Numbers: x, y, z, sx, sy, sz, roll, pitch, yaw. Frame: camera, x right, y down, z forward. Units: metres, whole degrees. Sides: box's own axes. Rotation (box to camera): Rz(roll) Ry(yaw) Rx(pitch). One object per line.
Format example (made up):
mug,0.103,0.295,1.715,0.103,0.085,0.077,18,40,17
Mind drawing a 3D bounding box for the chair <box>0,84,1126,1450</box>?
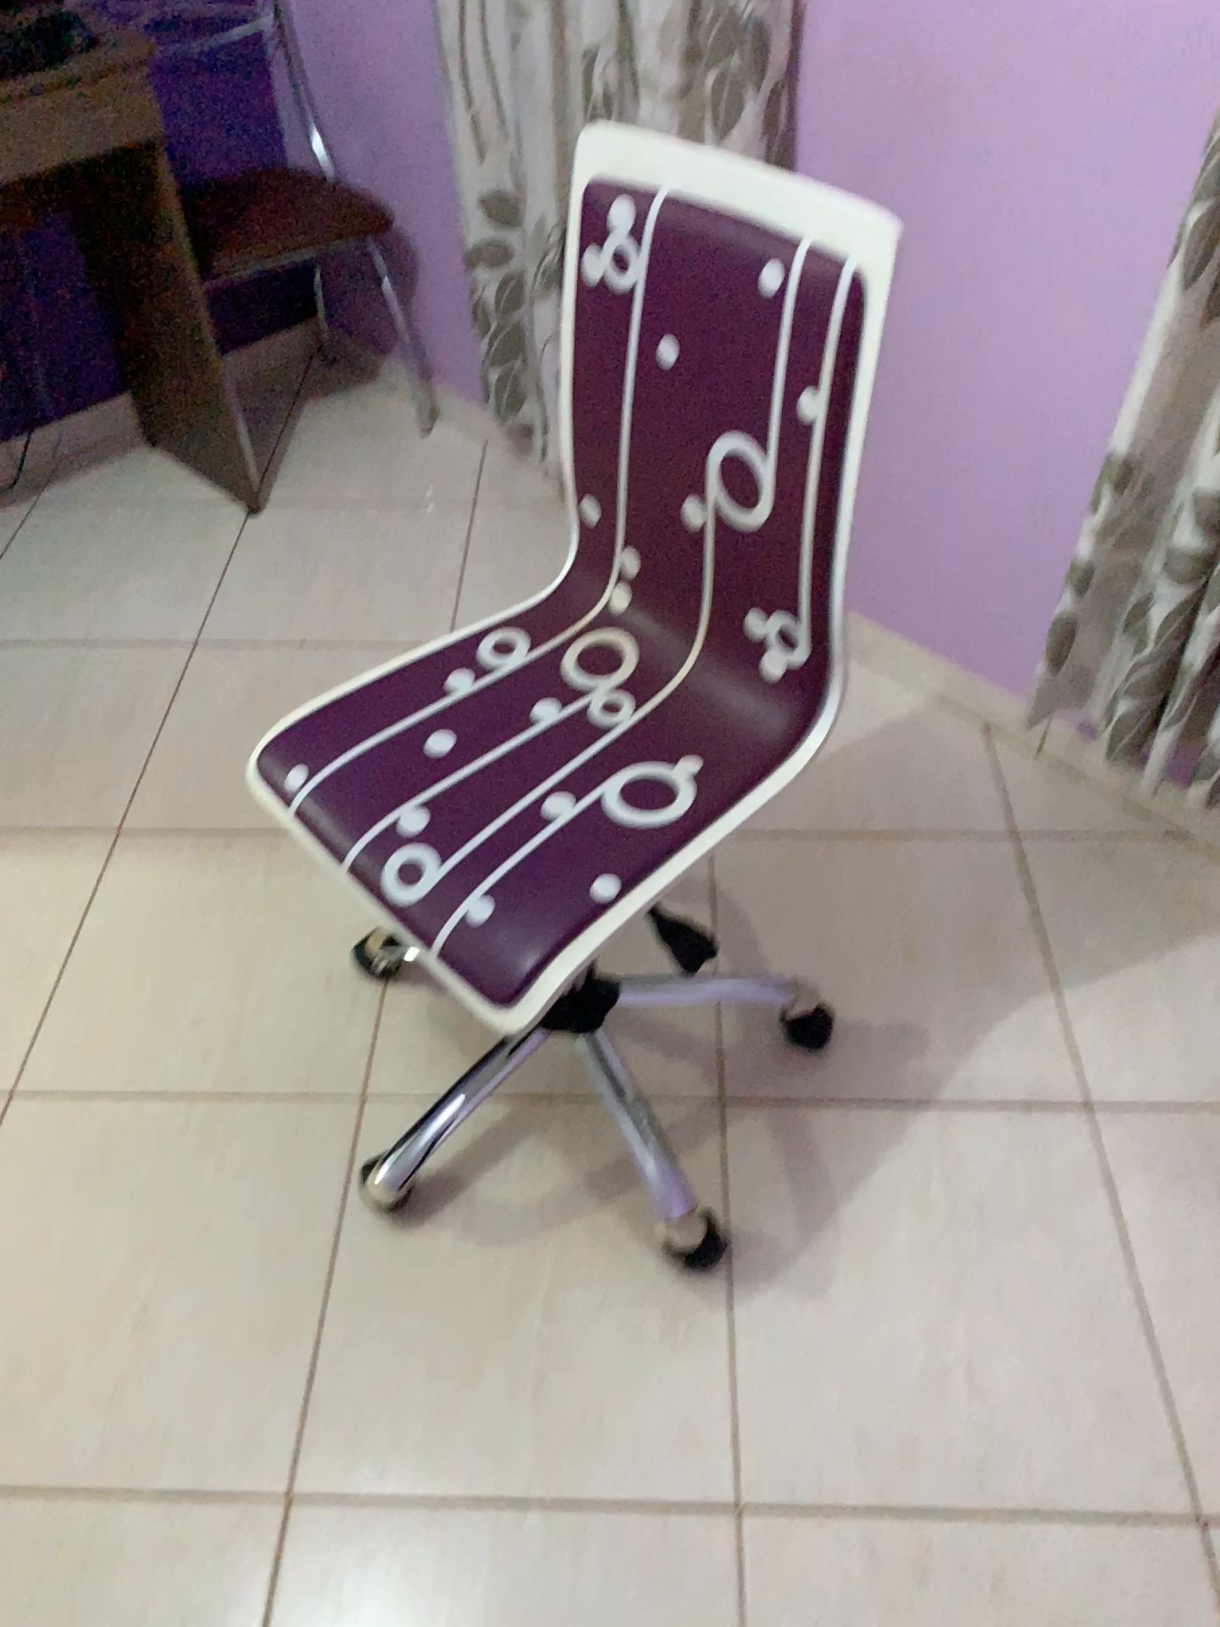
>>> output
chair,-0.100,-0.028,1.245,0.622,1.005,0.688,-31,52,-26
